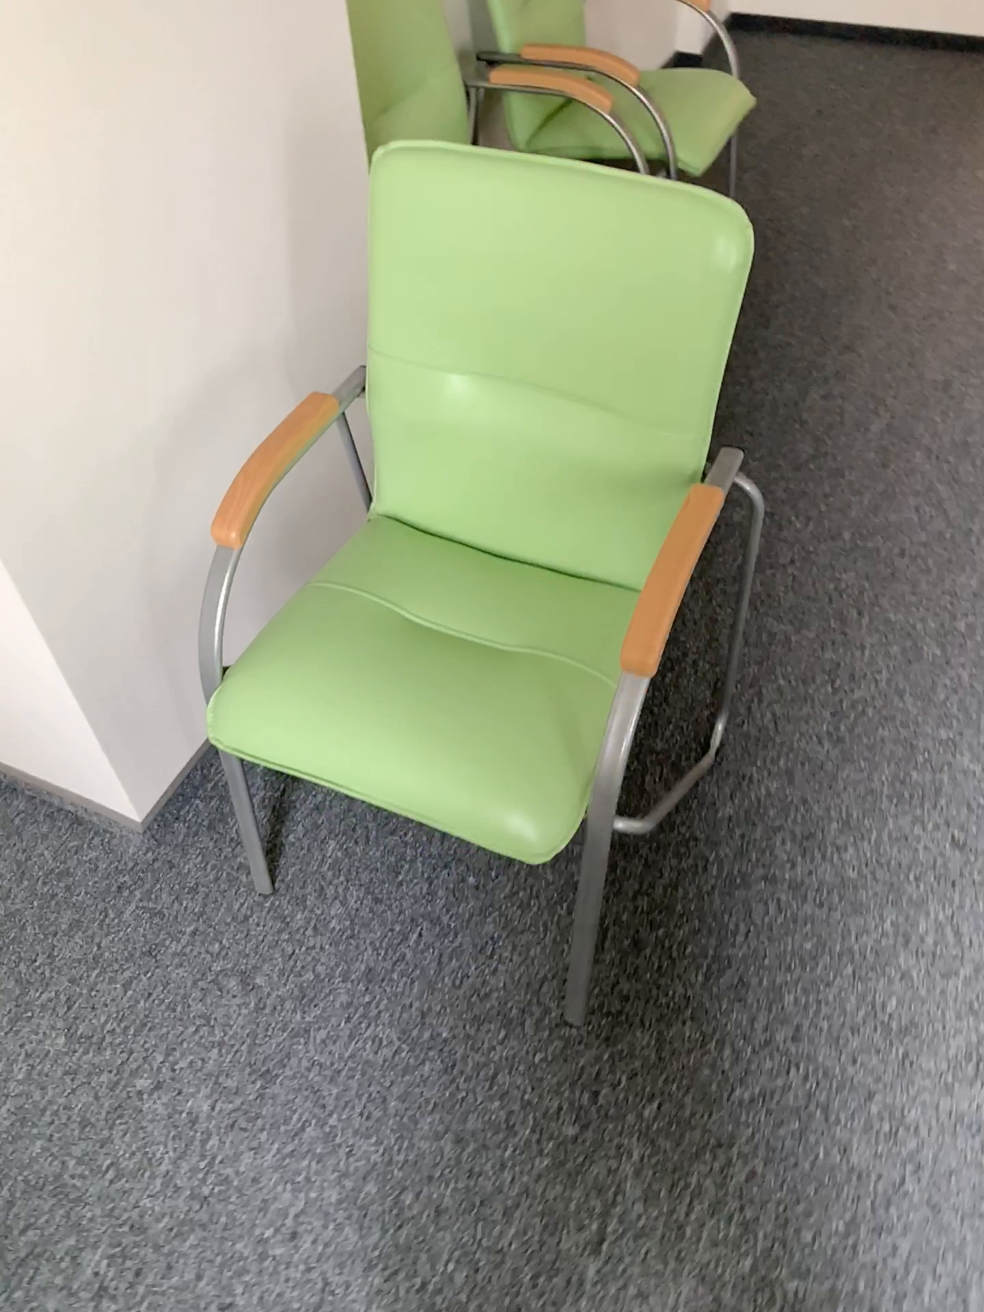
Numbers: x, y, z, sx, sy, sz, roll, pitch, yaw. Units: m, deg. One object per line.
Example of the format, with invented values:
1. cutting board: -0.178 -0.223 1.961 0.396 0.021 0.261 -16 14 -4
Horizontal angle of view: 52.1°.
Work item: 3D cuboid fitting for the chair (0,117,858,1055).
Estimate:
1. chair: -0.012 -0.070 1.285 0.621 0.876 0.622 18 51 18
